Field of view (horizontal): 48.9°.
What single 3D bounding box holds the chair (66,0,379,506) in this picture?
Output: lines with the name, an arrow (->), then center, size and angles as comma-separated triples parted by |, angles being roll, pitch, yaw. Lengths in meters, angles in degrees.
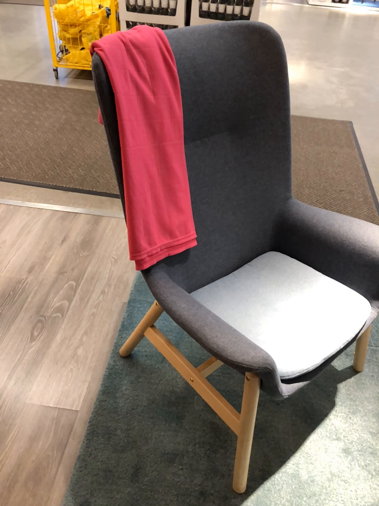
chair -> 0.259, -0.034, 1.149 | 0.792, 0.996, 0.702 | -28, 49, -32
